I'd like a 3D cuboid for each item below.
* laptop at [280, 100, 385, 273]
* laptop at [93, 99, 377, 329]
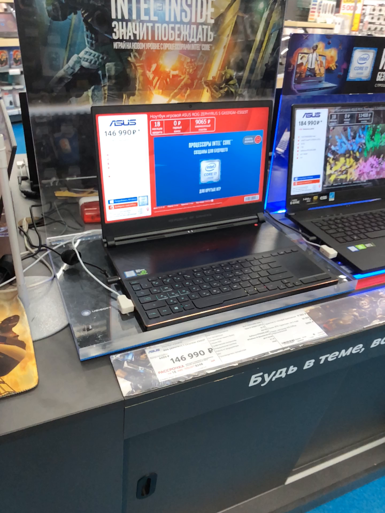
[{"bbox_3d":[0.424,-0.174,0.898,0.342,0.219,0.303,-9,34,-20],"label":"laptop"},{"bbox_3d":[0.045,-0.103,0.714,0.350,0.241,0.279,-10,34,-23],"label":"laptop"}]
